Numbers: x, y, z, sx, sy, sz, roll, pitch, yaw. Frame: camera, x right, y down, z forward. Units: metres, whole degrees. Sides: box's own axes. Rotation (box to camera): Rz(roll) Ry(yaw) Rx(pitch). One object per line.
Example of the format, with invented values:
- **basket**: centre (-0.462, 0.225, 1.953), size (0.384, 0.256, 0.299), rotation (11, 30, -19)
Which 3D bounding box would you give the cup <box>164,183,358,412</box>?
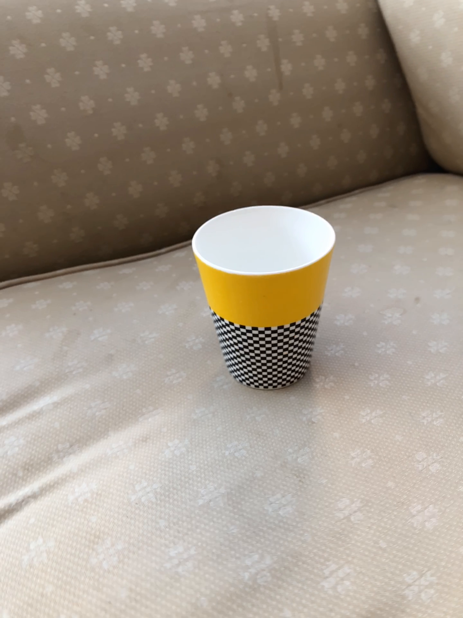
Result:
- **cup**: centre (0.015, -0.014, 0.347), size (0.087, 0.090, 0.112), rotation (-14, 37, -11)
